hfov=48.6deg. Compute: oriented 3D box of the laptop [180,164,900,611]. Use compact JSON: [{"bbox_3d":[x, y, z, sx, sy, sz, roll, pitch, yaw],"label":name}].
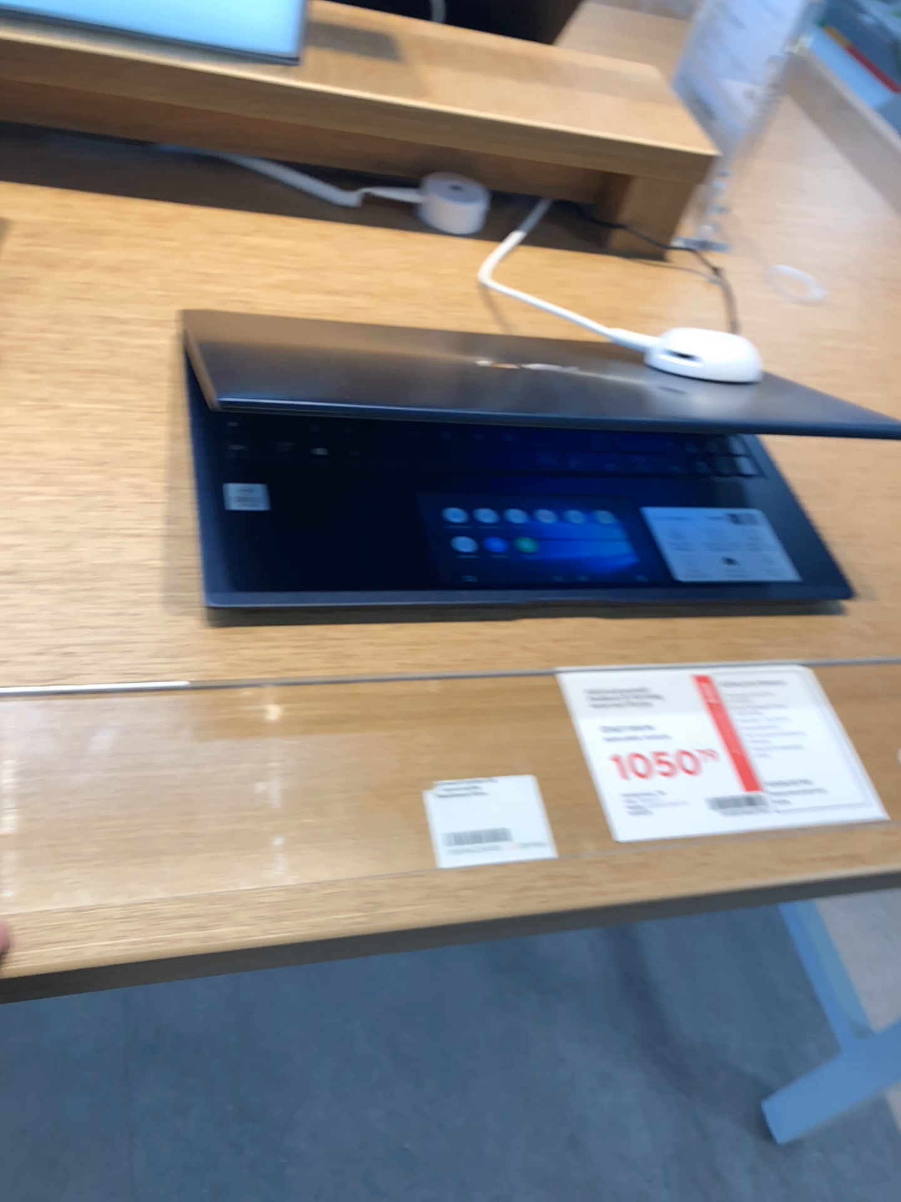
[{"bbox_3d":[0.046,-0.109,0.526,0.352,0.098,0.209,-1,49,-20],"label":"laptop"}]
